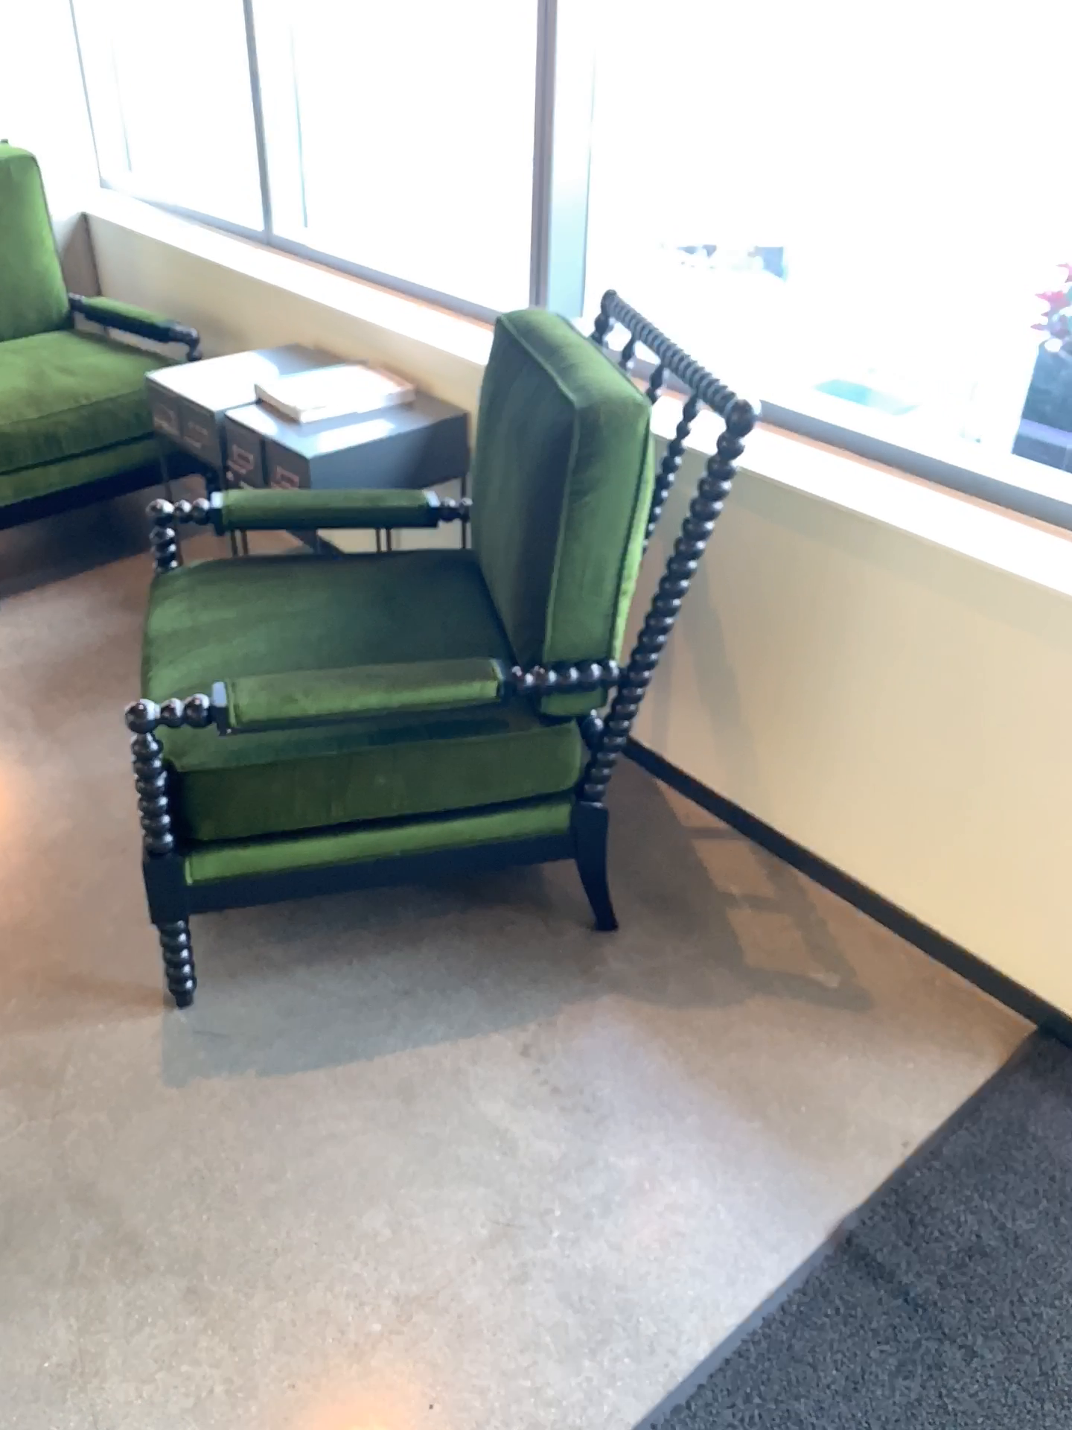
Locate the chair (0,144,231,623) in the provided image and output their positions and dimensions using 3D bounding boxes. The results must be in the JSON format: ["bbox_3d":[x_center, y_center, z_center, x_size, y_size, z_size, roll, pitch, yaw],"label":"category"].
[{"bbox_3d":[-1.488,-0.973,3.081,0.924,0.974,0.731,29,42,34],"label":"chair"}]

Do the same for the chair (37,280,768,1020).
[{"bbox_3d":[-0.236,-0.159,1.964,0.920,0.984,0.765,-6,34,-12],"label":"chair"}]
